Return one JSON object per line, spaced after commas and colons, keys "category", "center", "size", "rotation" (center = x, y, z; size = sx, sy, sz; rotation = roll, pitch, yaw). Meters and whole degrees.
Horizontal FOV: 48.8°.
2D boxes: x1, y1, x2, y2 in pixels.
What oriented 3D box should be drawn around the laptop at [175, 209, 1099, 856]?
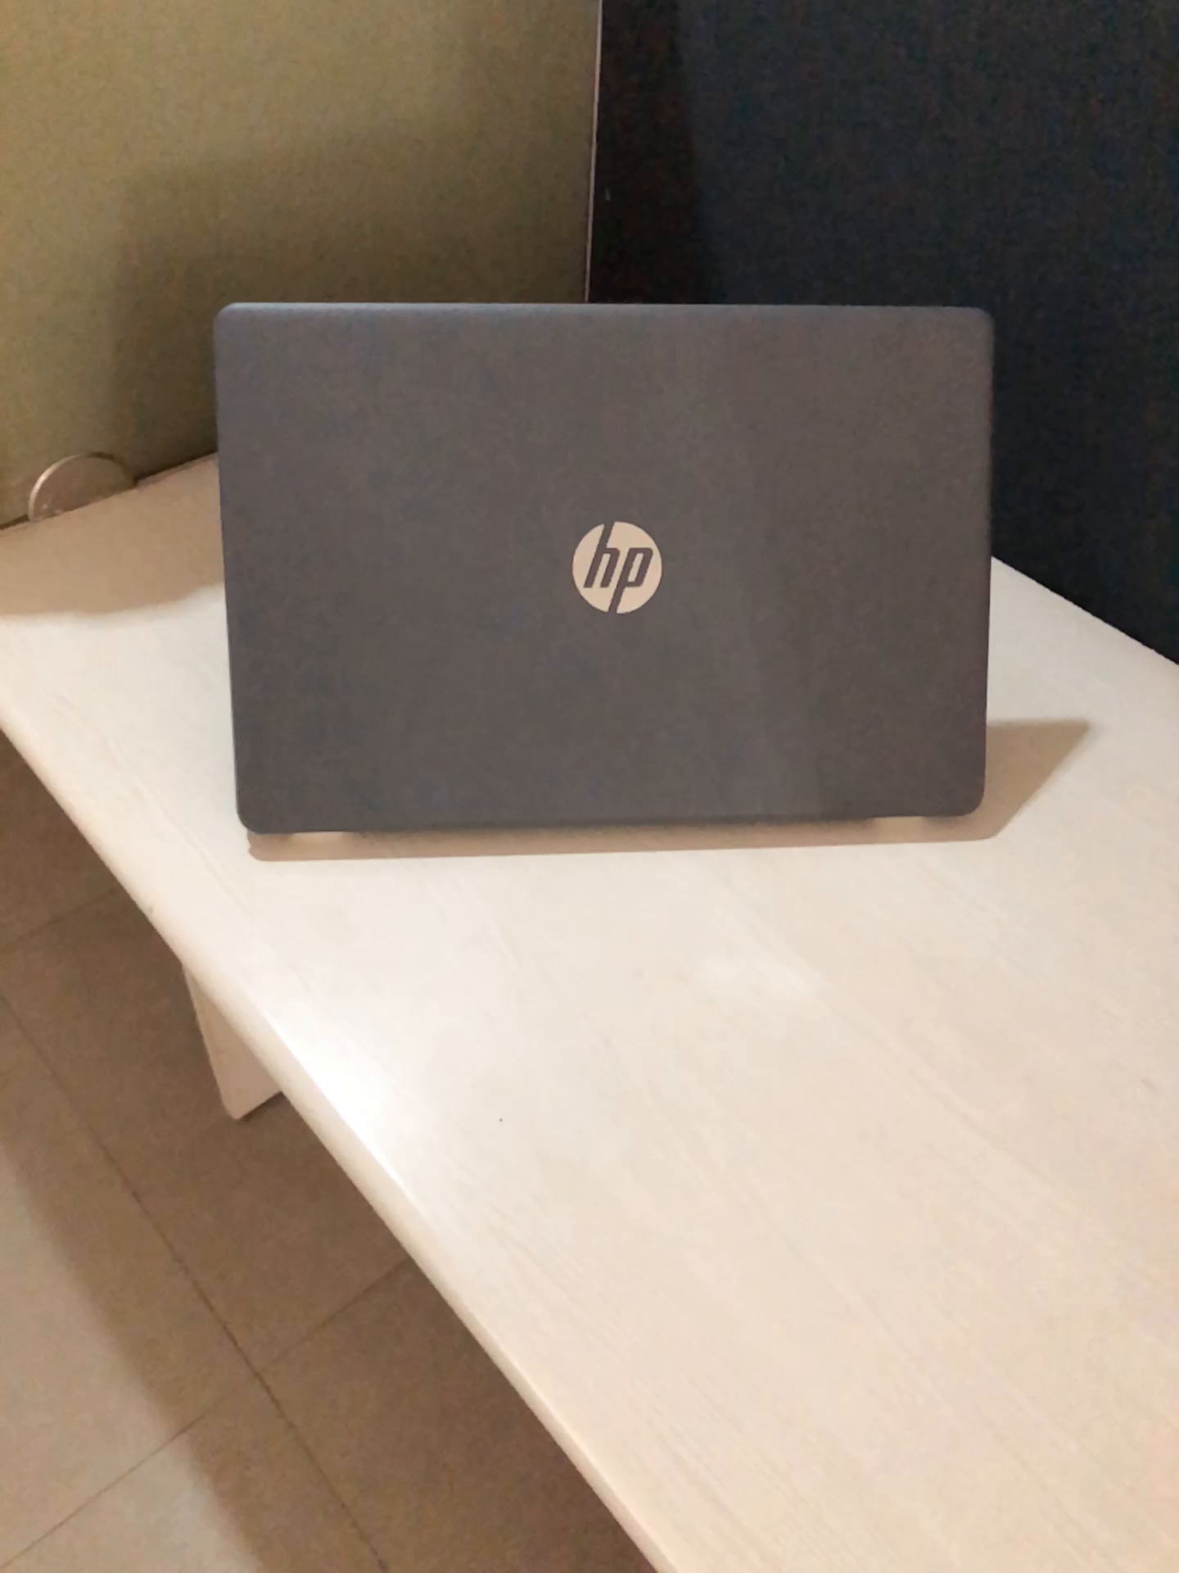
{"category": "laptop", "center": [0.009, -0.134, 0.661], "size": [0.361, 0.204, 0.248], "rotation": [-1, 47, -4]}
